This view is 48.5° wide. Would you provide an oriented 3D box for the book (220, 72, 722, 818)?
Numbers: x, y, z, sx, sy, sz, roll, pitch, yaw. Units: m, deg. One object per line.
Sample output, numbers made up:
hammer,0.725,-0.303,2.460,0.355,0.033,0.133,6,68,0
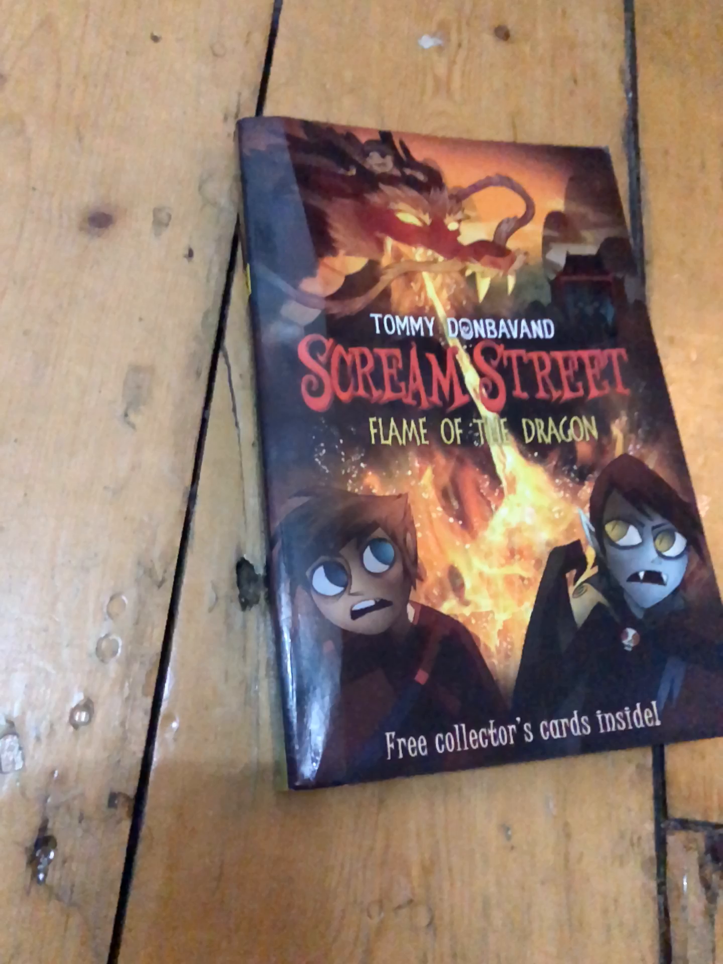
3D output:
book,0.032,-0.018,0.241,0.130,0.040,0.200,-1,72,-18
